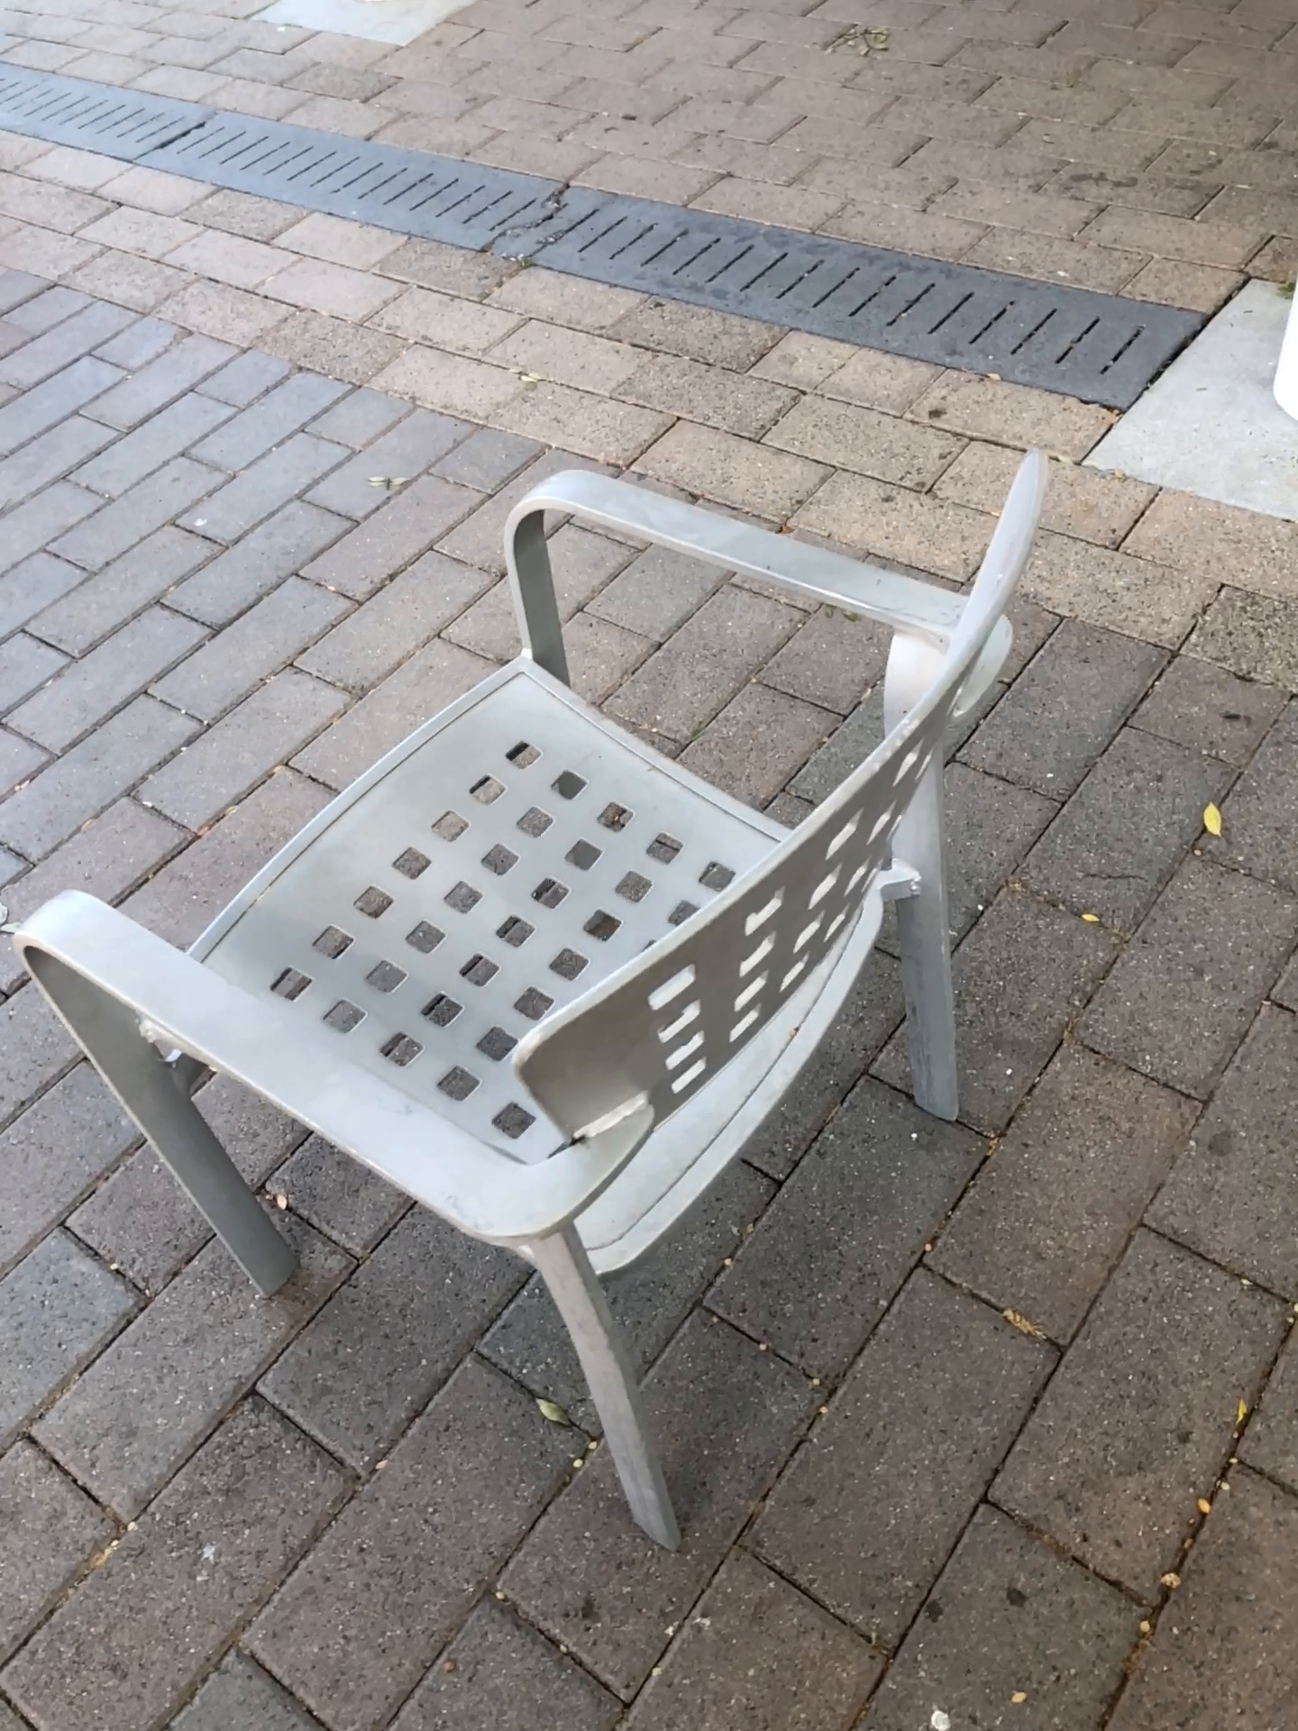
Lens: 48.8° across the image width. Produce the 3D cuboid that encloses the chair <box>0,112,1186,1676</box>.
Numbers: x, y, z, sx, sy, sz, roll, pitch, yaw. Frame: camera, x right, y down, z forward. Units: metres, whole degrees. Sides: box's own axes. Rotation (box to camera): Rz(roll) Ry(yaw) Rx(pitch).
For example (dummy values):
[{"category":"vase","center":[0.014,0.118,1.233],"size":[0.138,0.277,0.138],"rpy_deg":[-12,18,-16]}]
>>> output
[{"category":"chair","center":[-0.093,0.028,1.050],"size":[0.591,0.777,0.631],"rpy_deg":[25,57,25]}]
